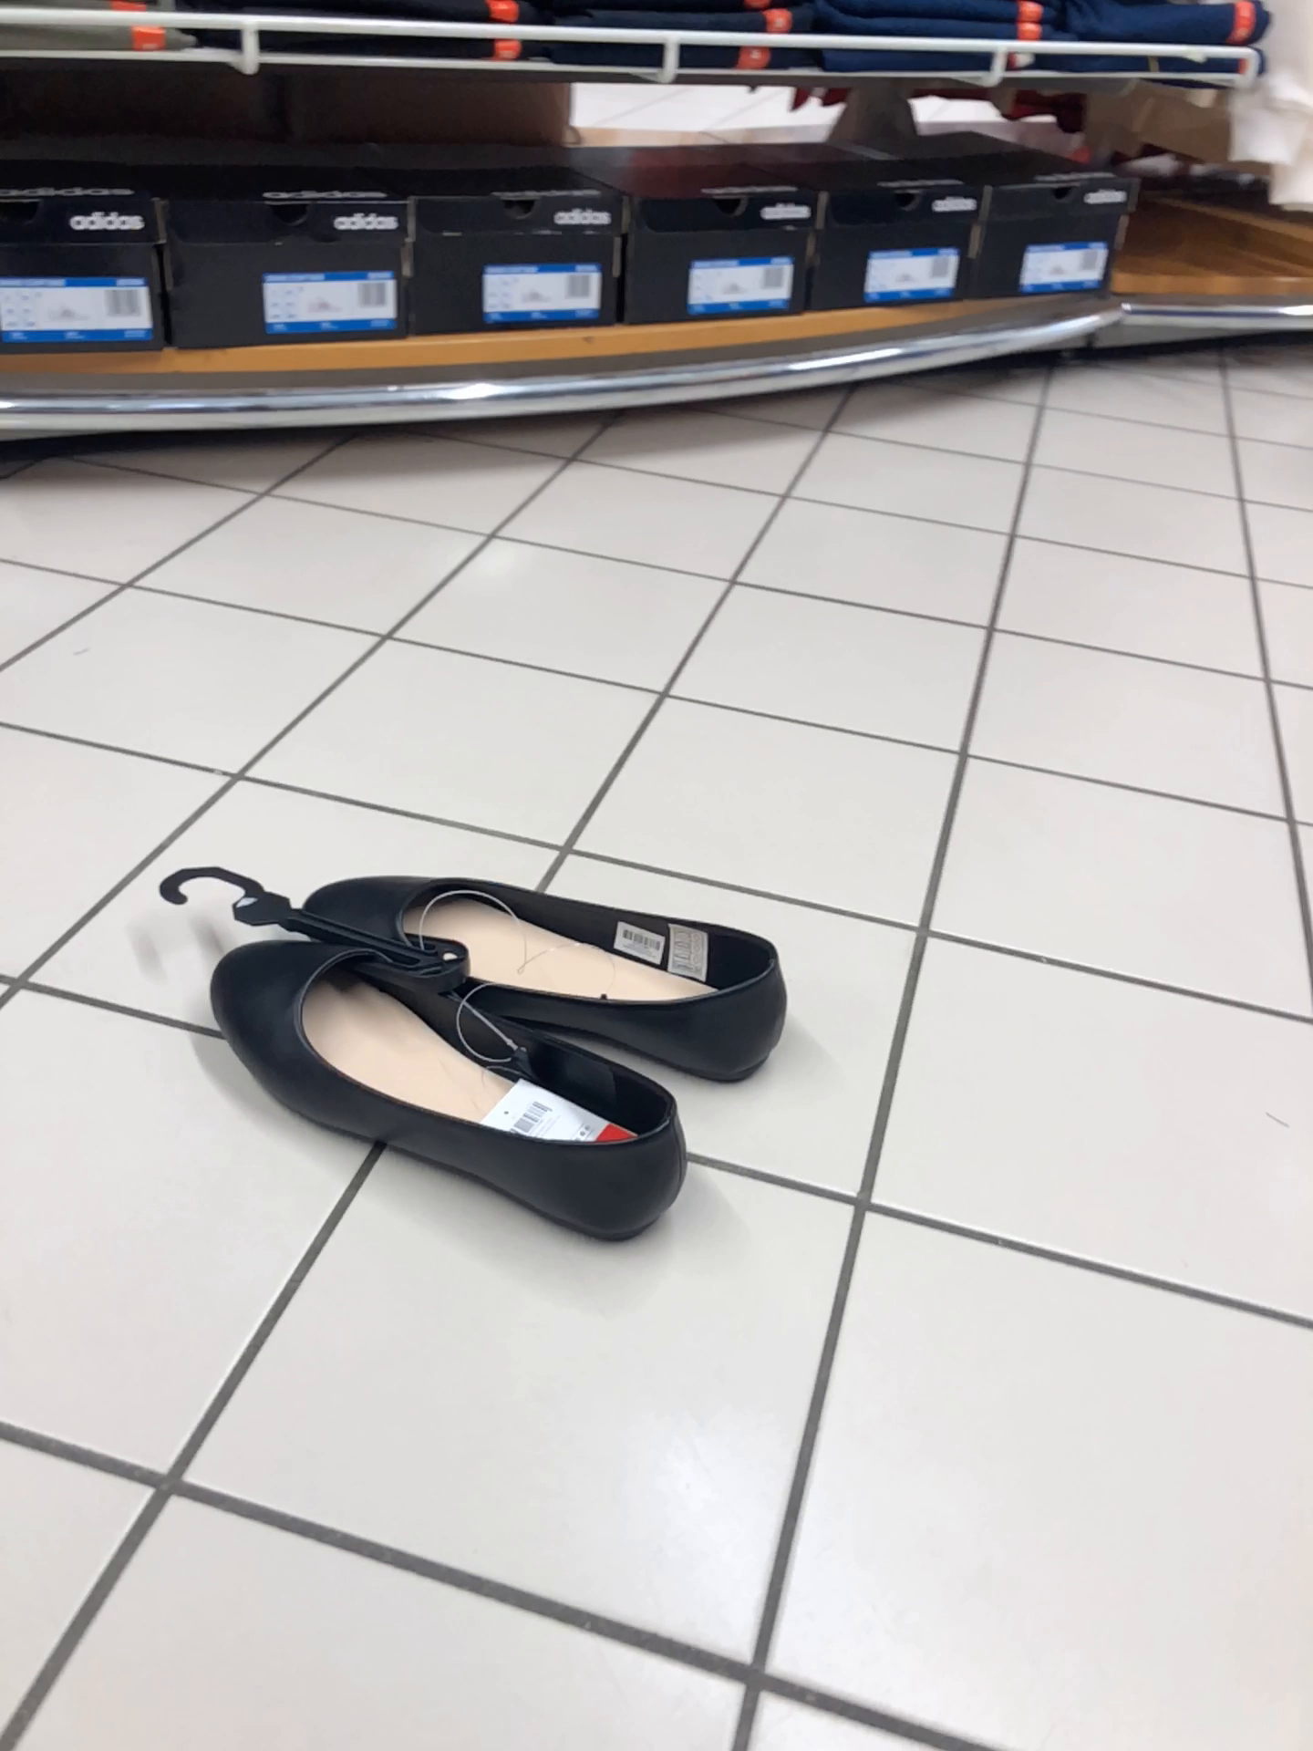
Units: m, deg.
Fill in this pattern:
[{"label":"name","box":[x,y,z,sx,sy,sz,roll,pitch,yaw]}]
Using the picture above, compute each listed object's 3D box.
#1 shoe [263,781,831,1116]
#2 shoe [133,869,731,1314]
[{"label":"shoe","box":[-0.052,0.029,0.682,0.250,0.060,0.081,15,36,14]},{"label":"shoe","box":[-0.100,0.083,0.617,0.250,0.060,0.081,22,38,23]}]
